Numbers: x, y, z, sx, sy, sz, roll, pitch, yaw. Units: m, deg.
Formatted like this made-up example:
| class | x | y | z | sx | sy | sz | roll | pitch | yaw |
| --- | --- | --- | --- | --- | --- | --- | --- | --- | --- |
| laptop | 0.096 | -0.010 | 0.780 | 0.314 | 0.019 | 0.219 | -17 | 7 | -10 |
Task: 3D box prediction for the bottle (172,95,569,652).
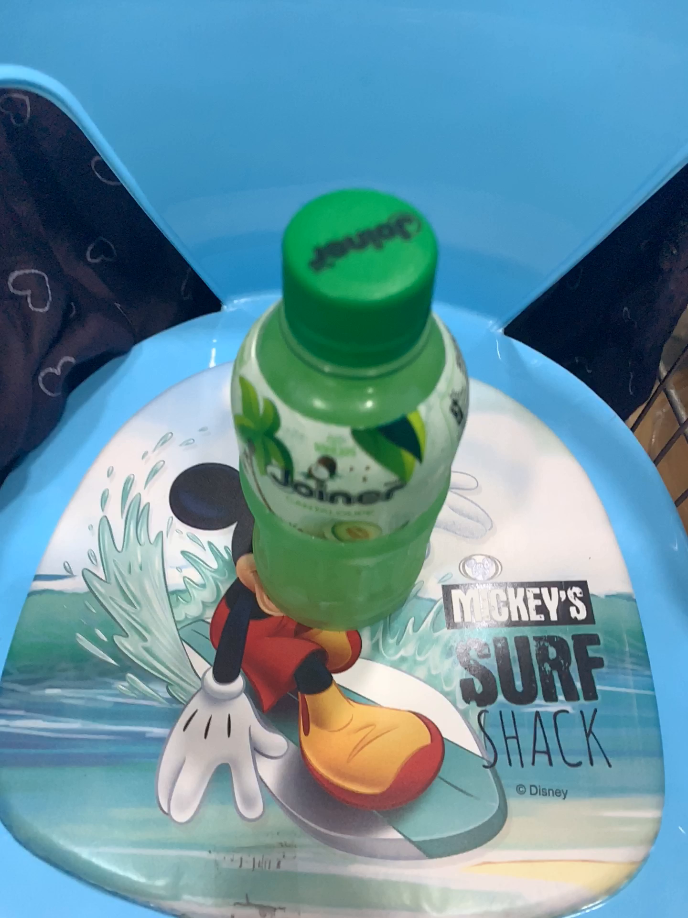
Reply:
| class | x | y | z | sx | sy | sz | roll | pitch | yaw |
| --- | --- | --- | --- | --- | --- | --- | --- | --- | --- |
| bottle | 0.005 | -0.006 | 0.182 | 0.060 | 0.140 | 0.060 | 1 | 56 | -1 |
